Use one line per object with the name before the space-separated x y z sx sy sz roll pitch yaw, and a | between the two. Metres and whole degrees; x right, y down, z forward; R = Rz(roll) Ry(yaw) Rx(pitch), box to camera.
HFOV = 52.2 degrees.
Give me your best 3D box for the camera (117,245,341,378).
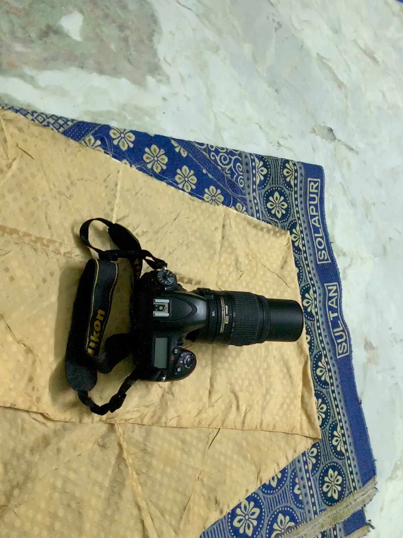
camera | 0.025 0.071 0.557 0.241 0.179 0.140 5 75 -21
